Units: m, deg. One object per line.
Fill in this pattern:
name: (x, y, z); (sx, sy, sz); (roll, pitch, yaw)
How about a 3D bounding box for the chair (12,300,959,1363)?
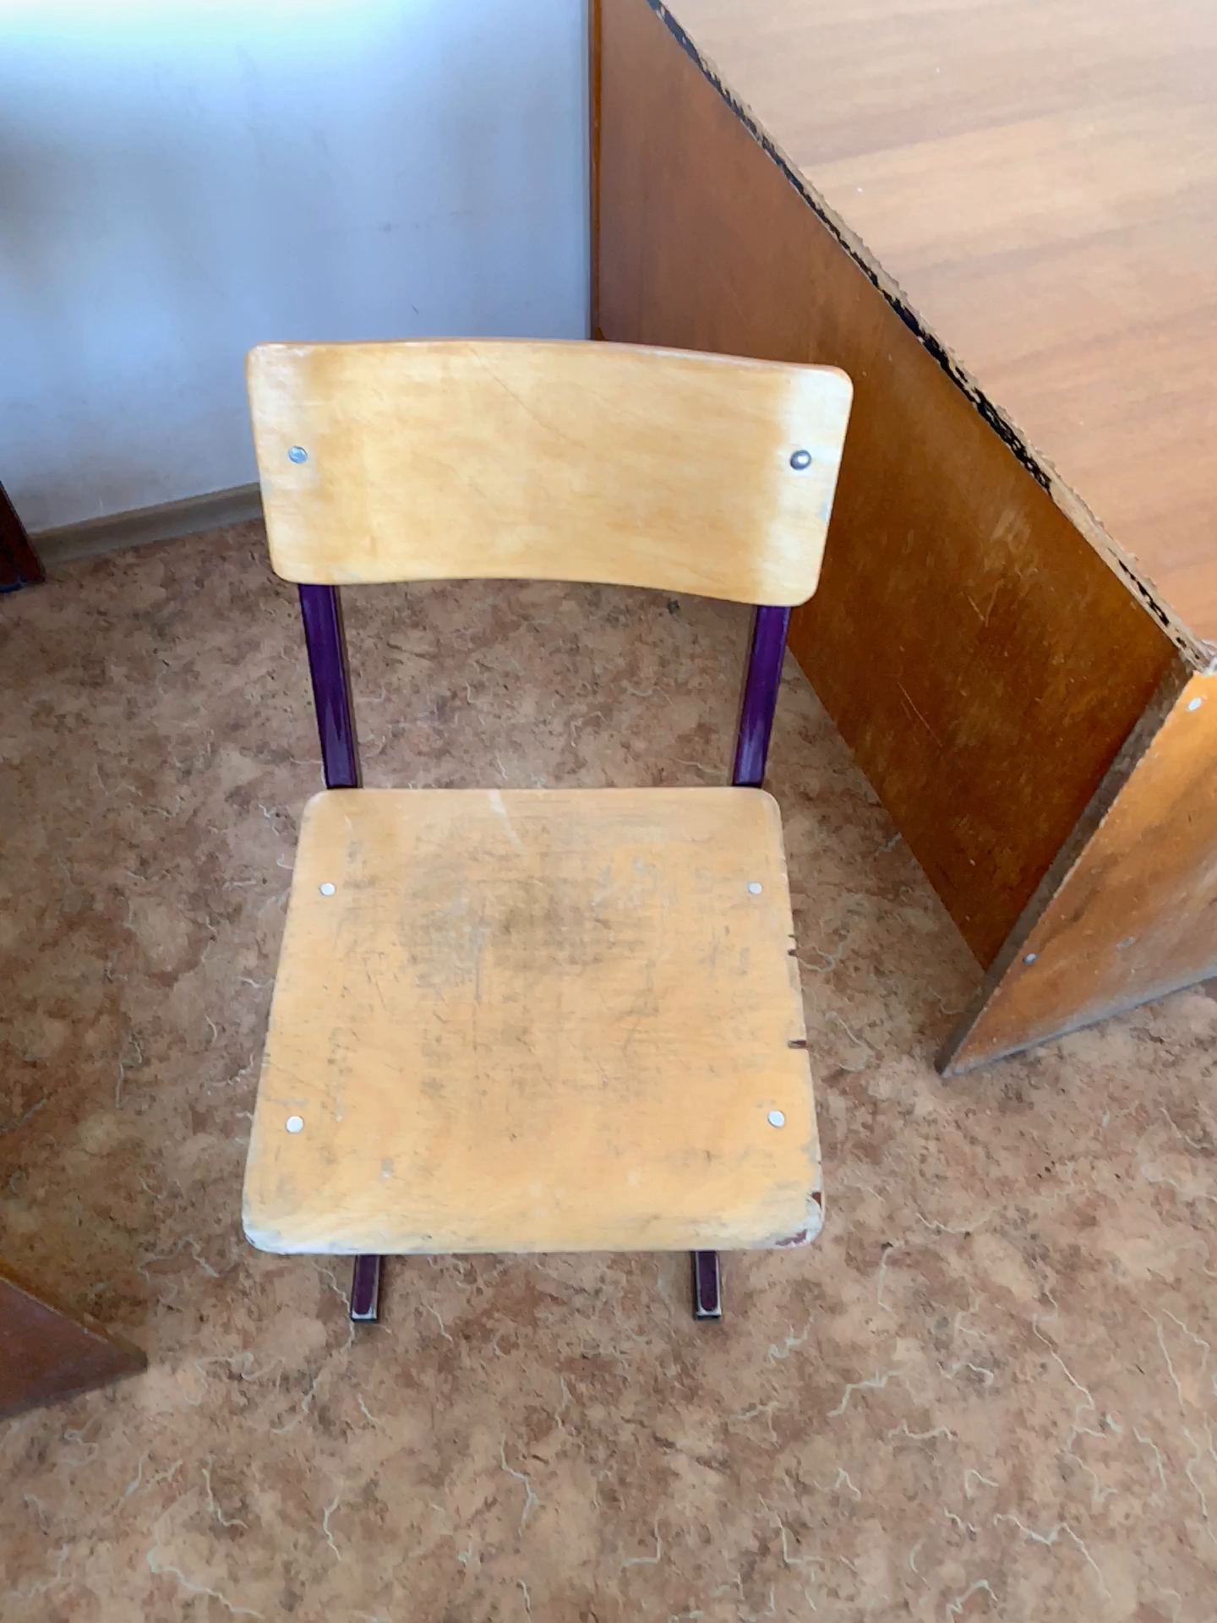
chair: (-0.051, 0.088, 0.936); (0.380, 0.735, 0.473); (1, 56, 0)
